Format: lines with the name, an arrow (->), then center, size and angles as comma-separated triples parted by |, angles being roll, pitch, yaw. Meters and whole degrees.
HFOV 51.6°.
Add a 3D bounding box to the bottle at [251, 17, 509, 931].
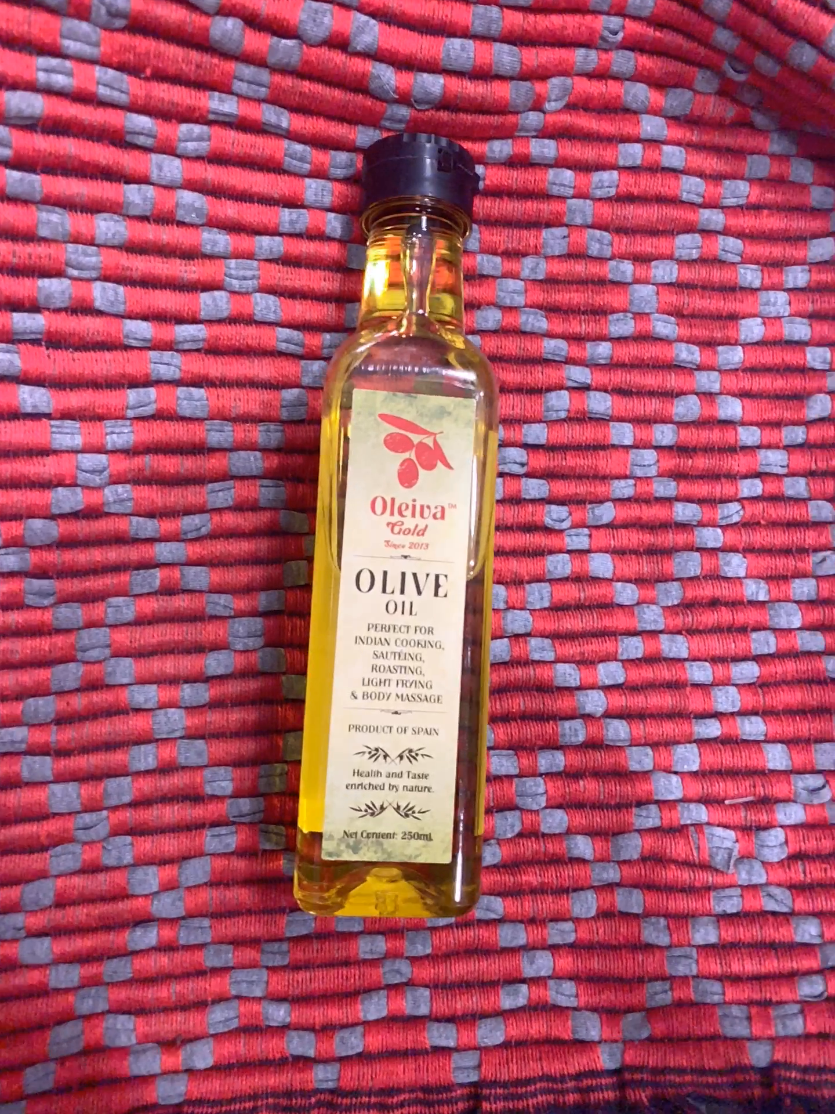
bottle -> -0.009, -0.021, 0.222 | 0.050, 0.050, 0.210 | 3, 84, -6
